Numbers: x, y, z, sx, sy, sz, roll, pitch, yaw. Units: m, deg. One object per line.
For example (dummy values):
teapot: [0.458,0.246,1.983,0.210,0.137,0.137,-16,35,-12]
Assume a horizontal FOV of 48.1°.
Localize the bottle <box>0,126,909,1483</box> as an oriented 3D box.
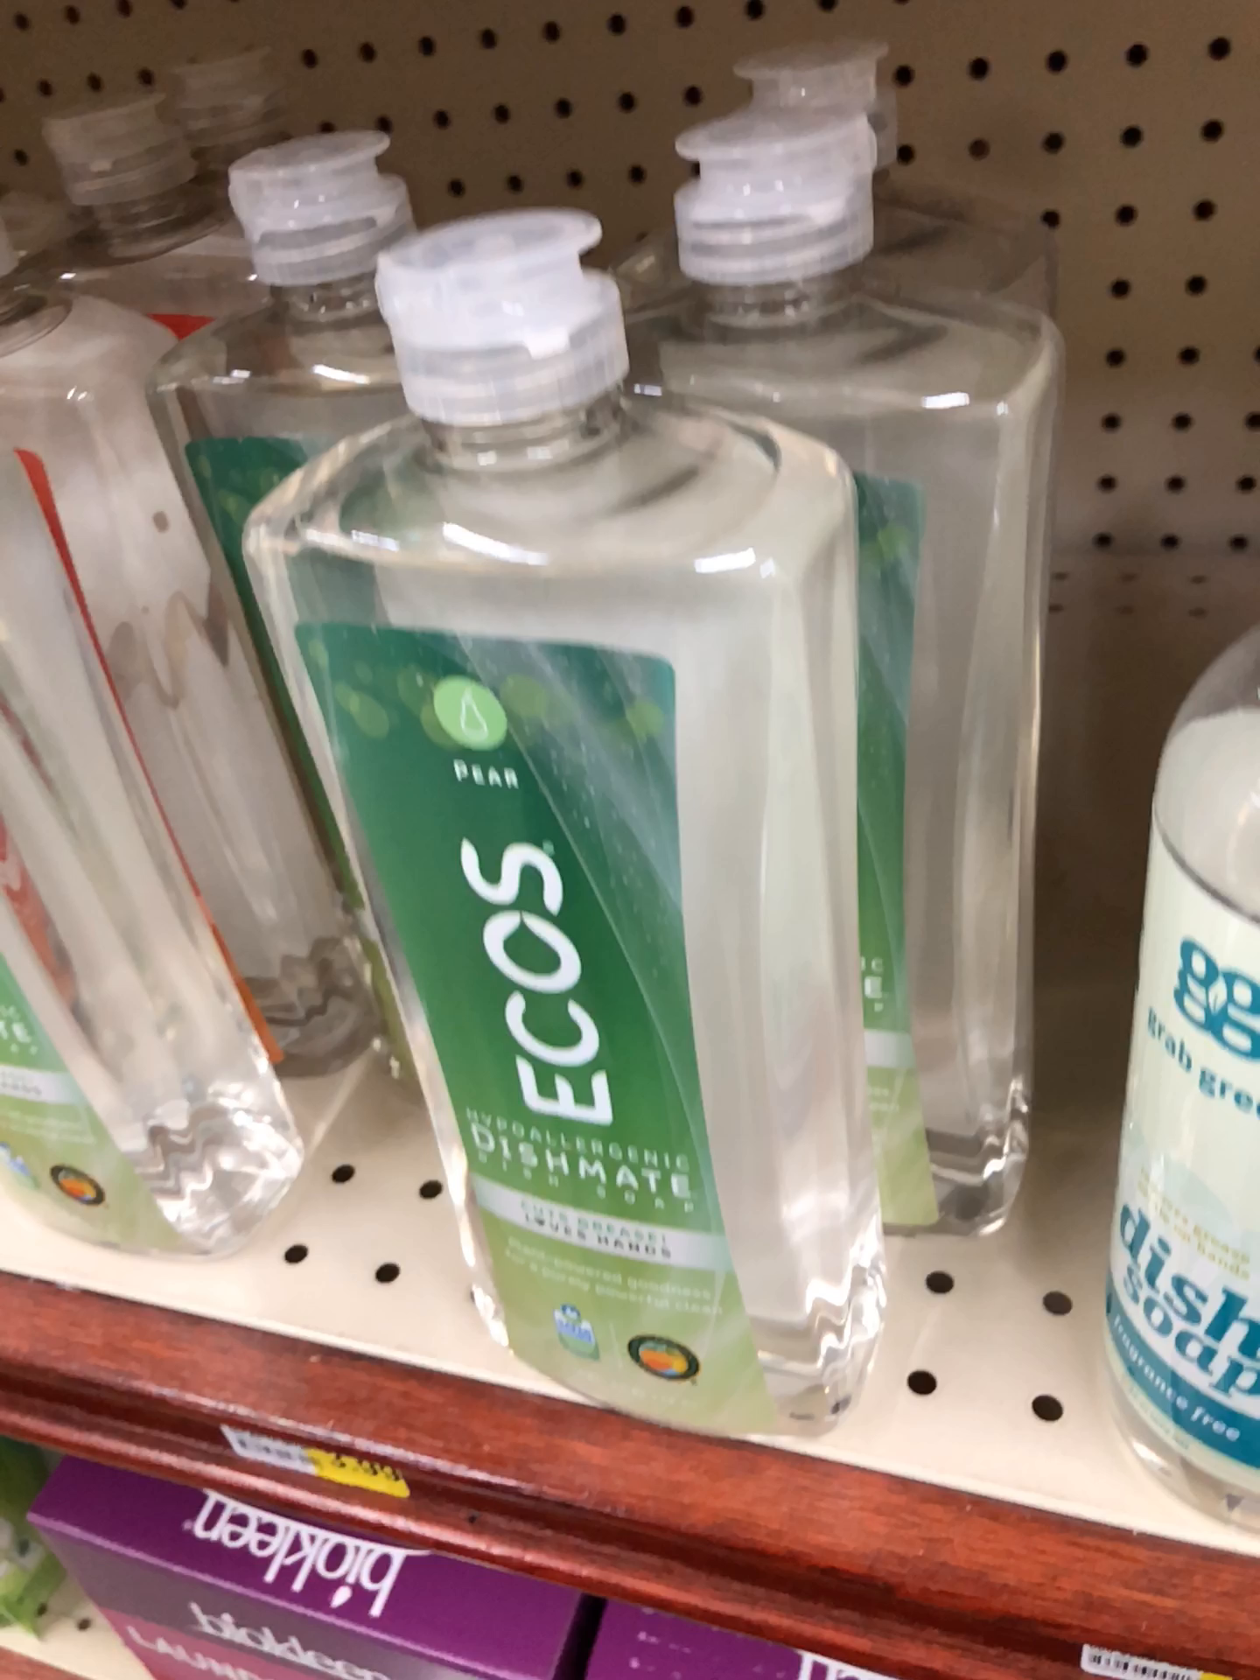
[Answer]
bottle: [-0.008,0.014,0.234,0.092,0.226,0.050,8,42,22]
